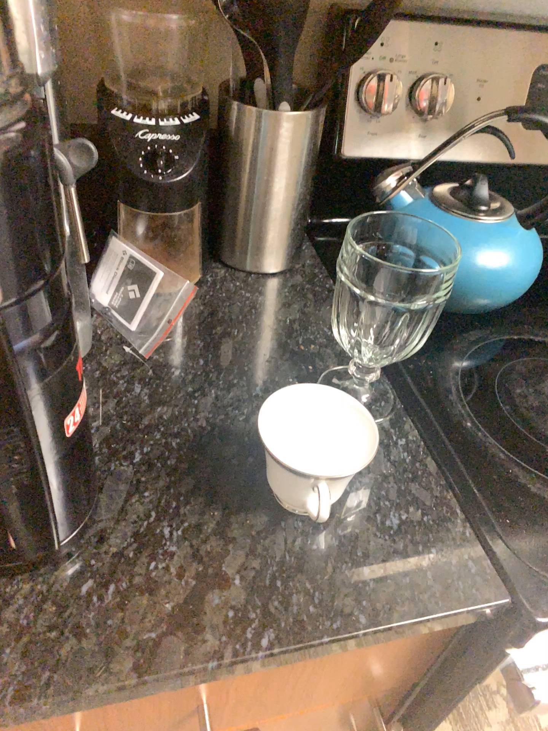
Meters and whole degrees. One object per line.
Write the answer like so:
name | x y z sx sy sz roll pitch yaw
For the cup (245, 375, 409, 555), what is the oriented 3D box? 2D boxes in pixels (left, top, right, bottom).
cup | 0.032 0.073 0.423 0.100 0.070 0.111 3 41 -6

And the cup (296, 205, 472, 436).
cup | 0.085 -0.037 0.509 0.100 0.169 0.111 3 41 -6
